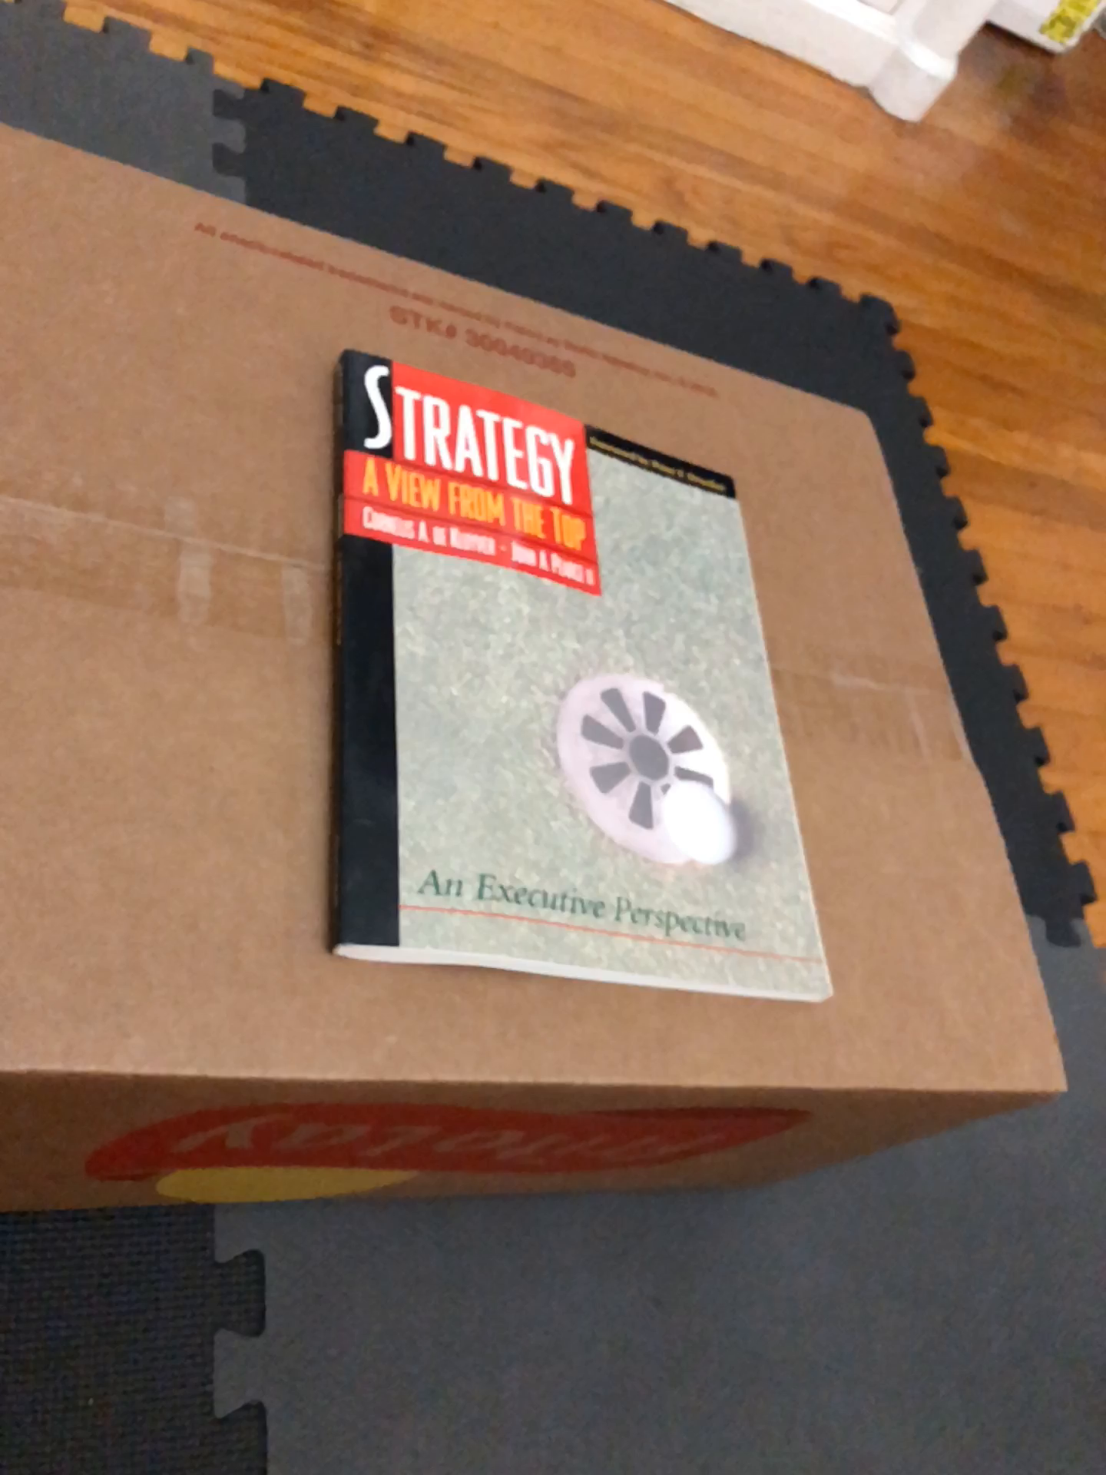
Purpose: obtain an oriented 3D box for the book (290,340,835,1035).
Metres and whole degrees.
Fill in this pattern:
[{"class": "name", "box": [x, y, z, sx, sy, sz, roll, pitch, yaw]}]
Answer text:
[{"class": "book", "box": [0.002, -0.021, 0.439, 0.180, 0.020, 0.241, 11, 57, -25]}]
